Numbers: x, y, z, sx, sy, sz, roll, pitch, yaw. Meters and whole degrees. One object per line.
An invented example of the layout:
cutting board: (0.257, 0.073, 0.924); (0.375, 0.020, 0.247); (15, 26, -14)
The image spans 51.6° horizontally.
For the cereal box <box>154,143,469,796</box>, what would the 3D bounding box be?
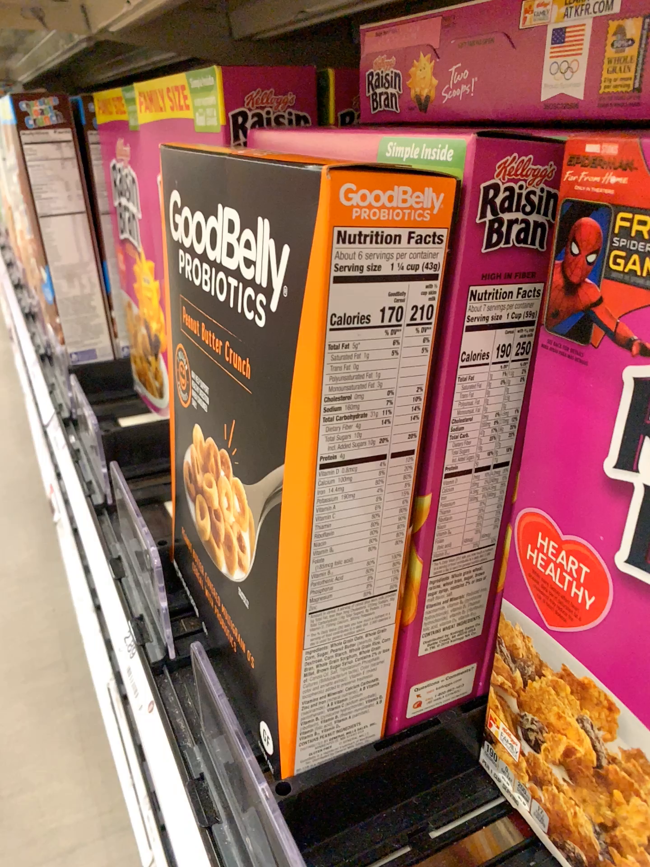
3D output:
cereal box: (-0.032, -0.003, 0.330); (0.050, 0.249, 0.201); (-6, 24, -27)
